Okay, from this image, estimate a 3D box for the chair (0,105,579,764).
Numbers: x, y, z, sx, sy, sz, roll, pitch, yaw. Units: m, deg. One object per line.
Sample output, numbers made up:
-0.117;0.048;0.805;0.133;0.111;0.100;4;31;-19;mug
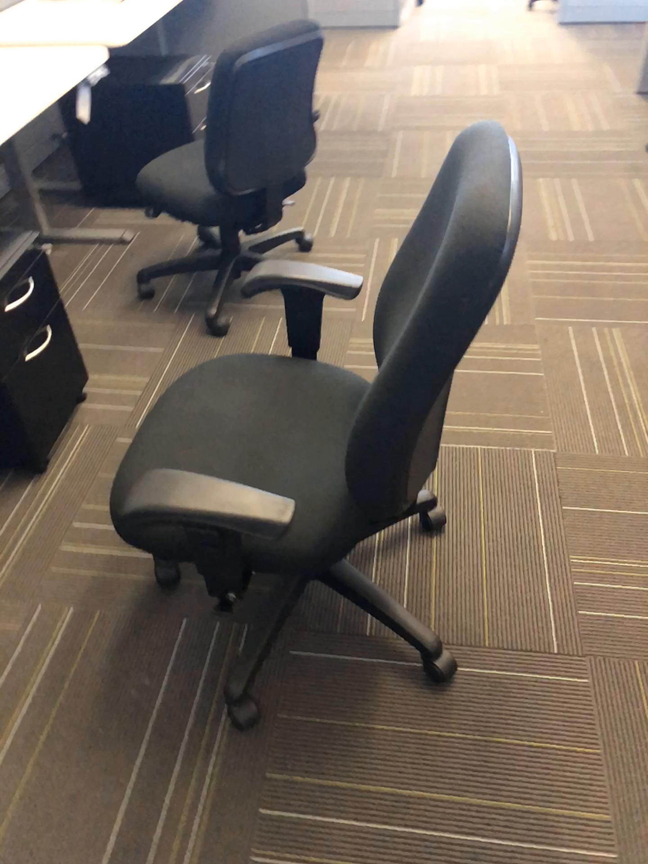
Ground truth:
-0.008;0.007;1.352;0.680;0.955;0.744;3;42;7;chair
